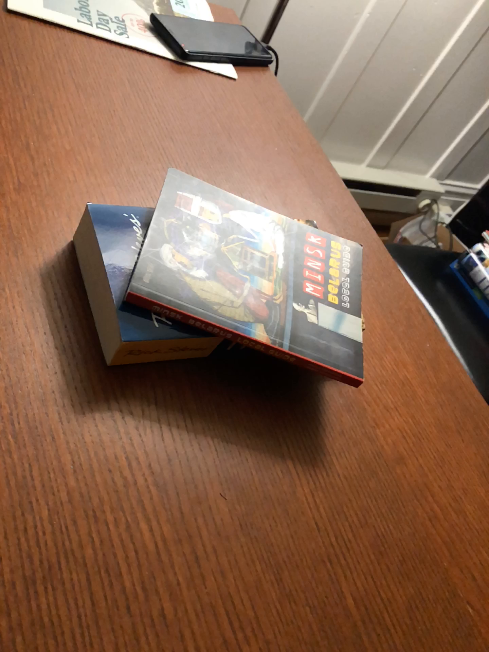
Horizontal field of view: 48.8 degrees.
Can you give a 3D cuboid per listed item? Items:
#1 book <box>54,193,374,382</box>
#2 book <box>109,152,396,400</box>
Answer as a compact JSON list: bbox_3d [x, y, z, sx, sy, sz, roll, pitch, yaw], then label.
[{"bbox_3d":[-0.020,-0.034,0.420,0.221,0.040,0.130,-3,55,-32],"label":"book"},{"bbox_3d":[0.014,-0.040,0.390,0.190,0.020,0.151,19,46,-16],"label":"book"}]
